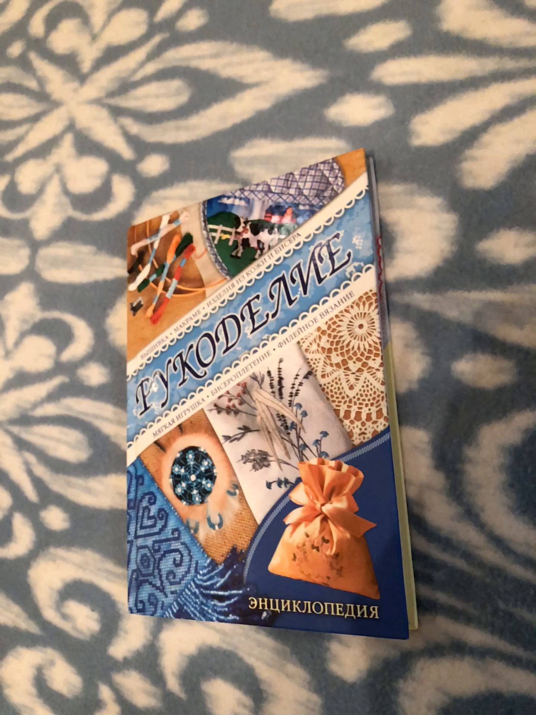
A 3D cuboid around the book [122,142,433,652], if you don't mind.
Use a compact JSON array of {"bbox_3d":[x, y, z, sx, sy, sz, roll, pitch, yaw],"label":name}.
[{"bbox_3d":[-0.010,0.022,0.325,0.168,0.020,0.237,-10,76,30],"label":"book"}]
